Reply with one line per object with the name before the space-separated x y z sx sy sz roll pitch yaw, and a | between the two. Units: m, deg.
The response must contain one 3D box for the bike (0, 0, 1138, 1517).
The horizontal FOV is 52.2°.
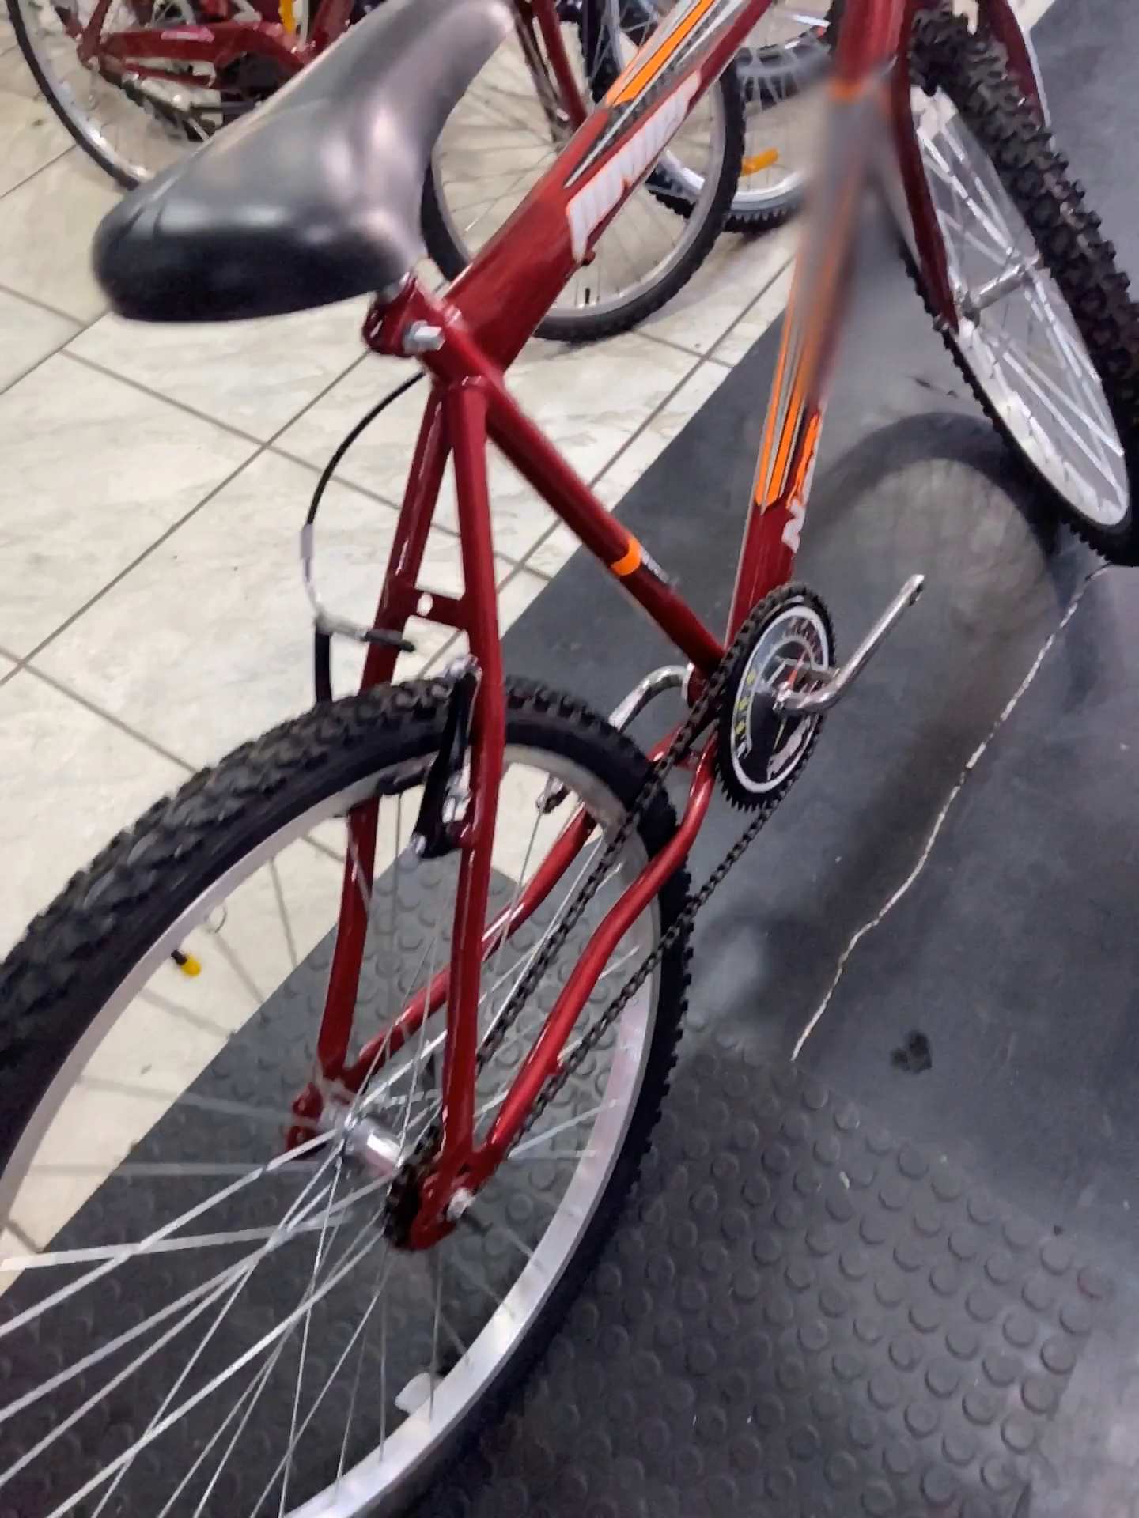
bike | -0.036 -0.284 0.785 0.566 1.030 1.587 18 63 19
